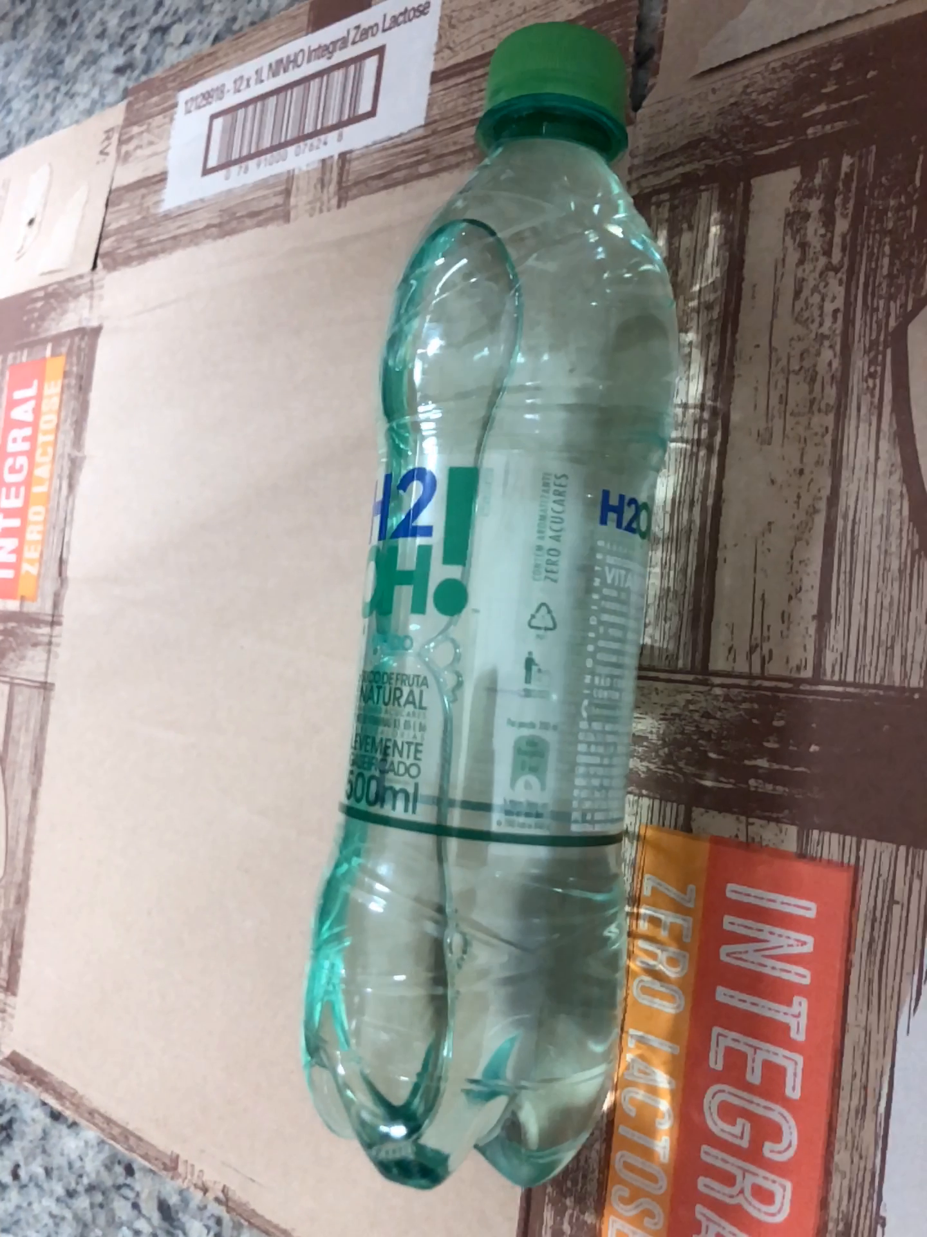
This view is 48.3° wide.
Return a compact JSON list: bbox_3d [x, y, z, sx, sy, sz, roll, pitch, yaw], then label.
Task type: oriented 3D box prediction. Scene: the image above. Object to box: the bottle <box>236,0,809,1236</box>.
[{"bbox_3d":[0.014,-0.013,0.207,0.070,0.050,0.250,3,84,39],"label":"bottle"}]
